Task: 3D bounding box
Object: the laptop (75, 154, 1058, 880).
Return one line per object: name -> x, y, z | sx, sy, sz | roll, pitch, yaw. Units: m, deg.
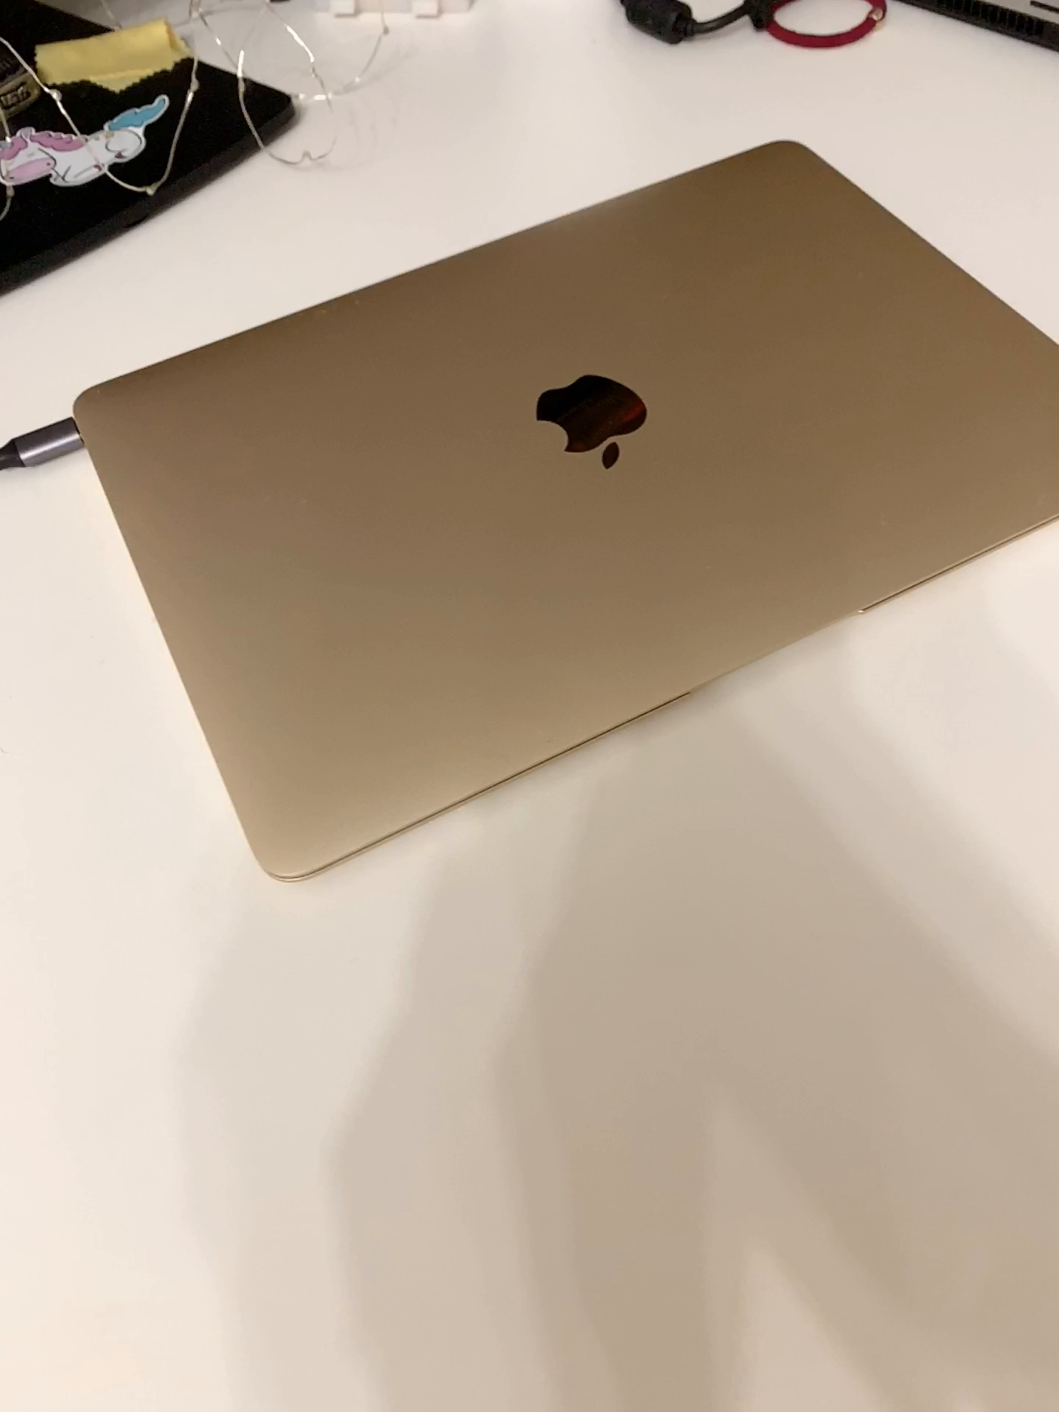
laptop -> 0.015, -0.078, 0.321 | 0.255, 0.009, 0.175 | -25, 58, -13
